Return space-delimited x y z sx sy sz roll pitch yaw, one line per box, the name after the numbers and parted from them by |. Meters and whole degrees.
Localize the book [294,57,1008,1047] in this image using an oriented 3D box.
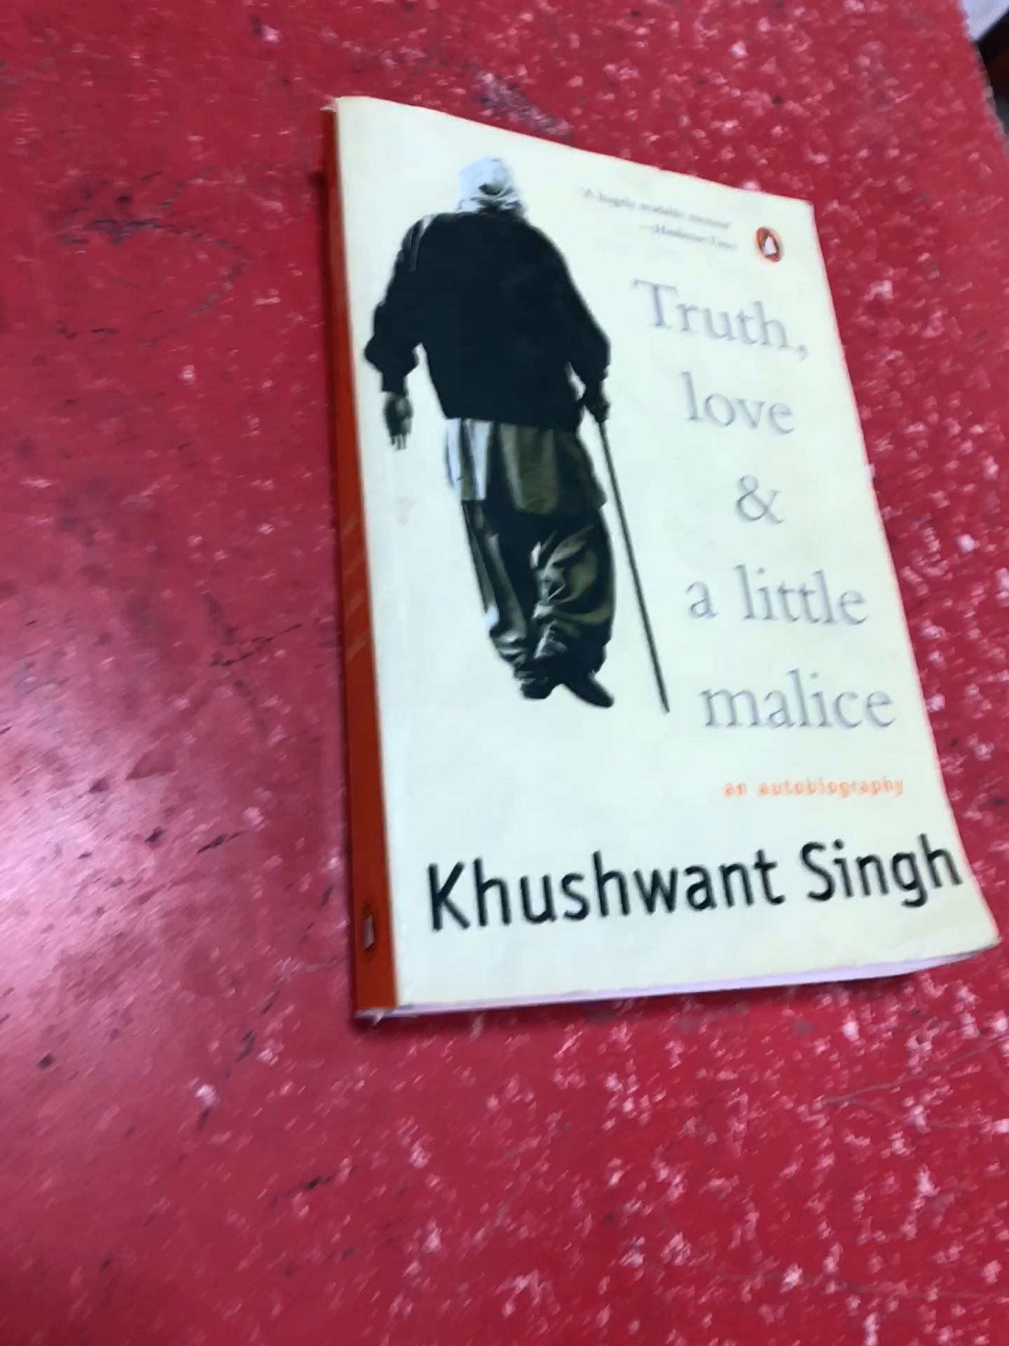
0.028 -0.030 0.263 0.140 0.040 0.210 3 70 -22 | book
